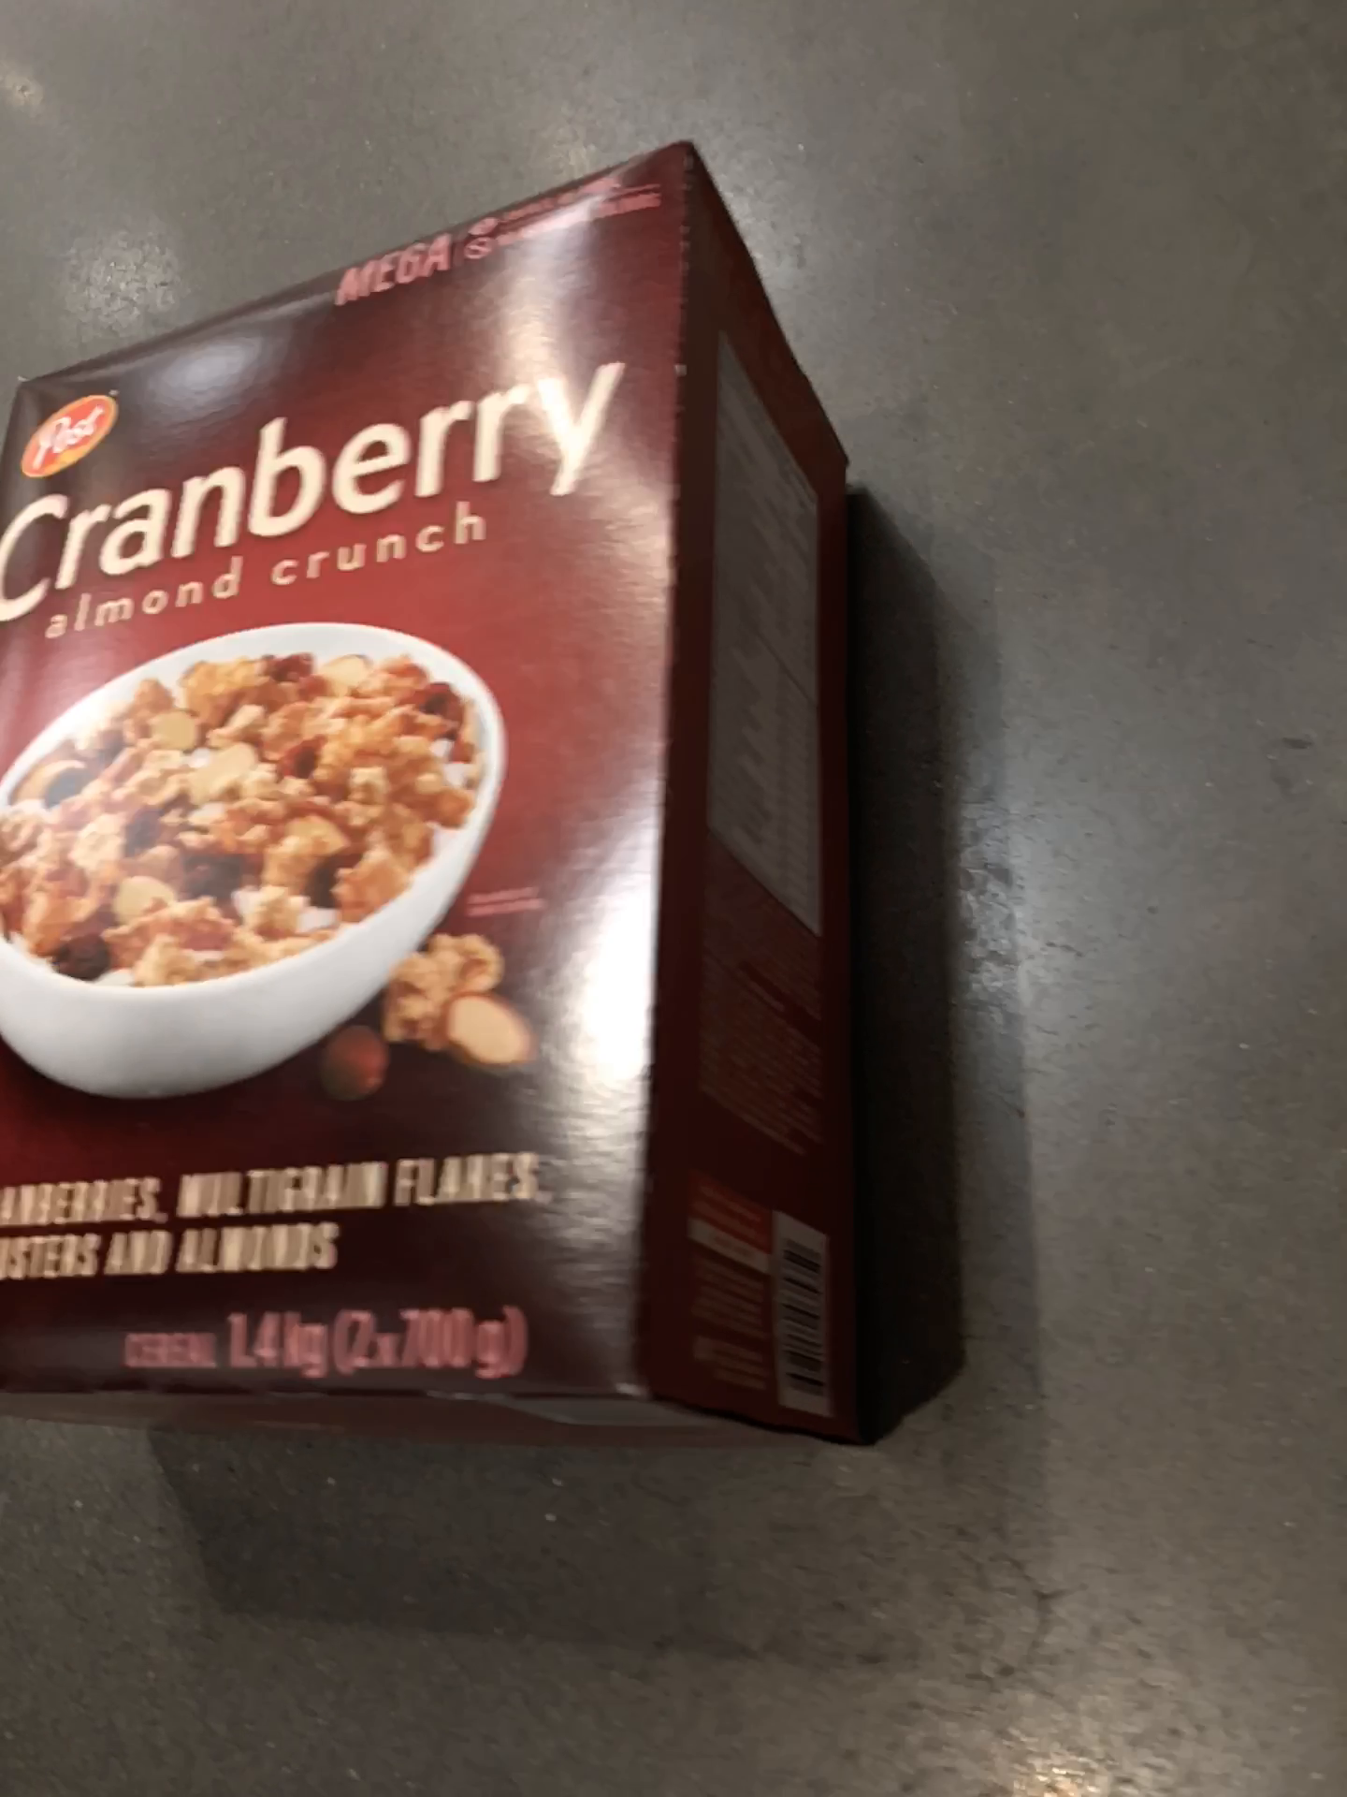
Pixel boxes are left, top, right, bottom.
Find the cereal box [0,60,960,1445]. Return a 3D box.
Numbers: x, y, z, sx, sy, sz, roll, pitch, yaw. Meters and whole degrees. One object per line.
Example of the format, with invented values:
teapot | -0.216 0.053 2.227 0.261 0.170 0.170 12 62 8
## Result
cereal box | -0.078 -0.022 0.410 0.261 0.129 0.310 -10 64 21
